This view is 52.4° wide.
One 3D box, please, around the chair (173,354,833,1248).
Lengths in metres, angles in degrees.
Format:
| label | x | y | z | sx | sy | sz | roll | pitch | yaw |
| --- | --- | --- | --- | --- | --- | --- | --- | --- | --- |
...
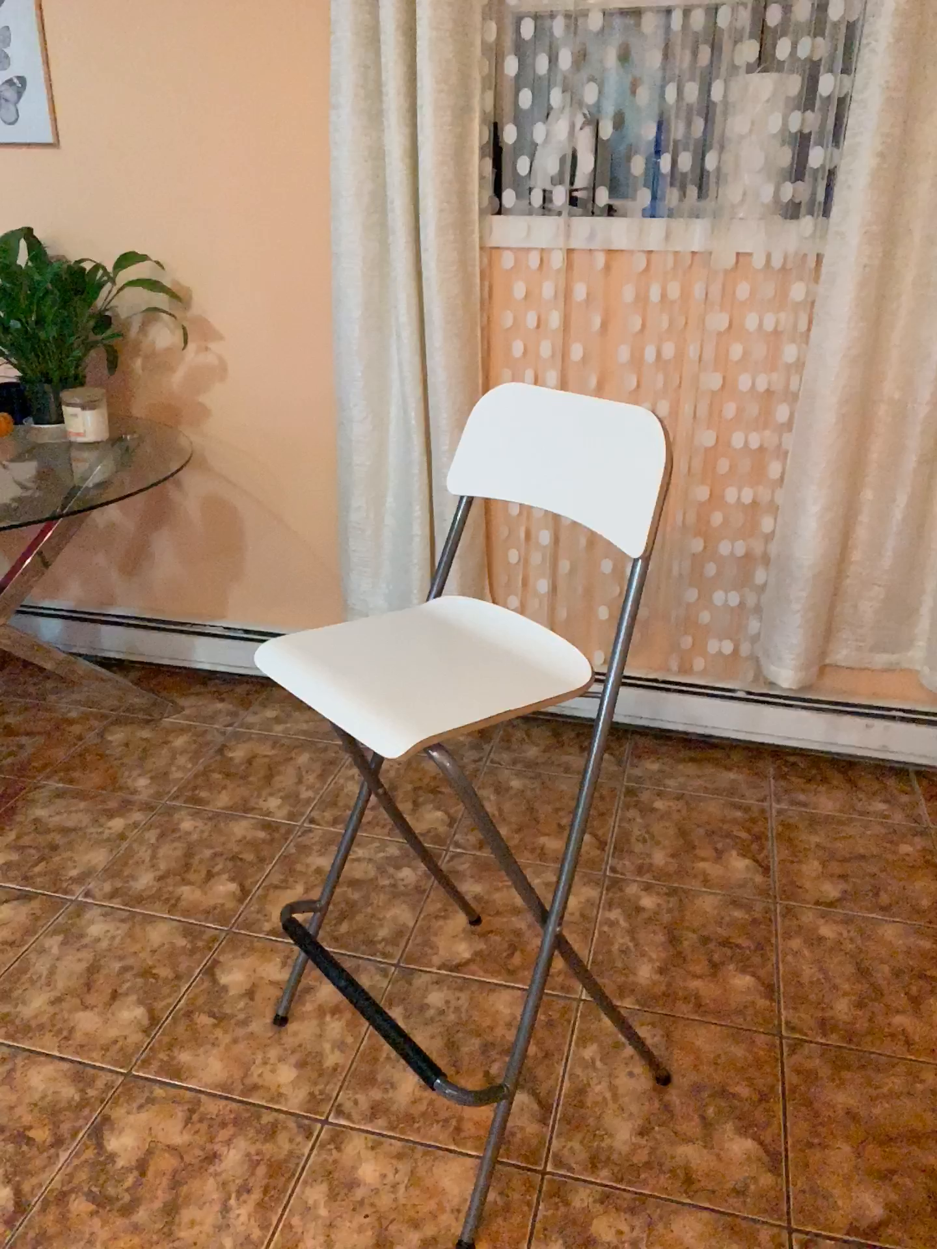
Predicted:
| label | x | y | z | sx | sy | sz | roll | pitch | yaw |
| --- | --- | --- | --- | --- | --- | --- | --- | --- | --- |
| chair | 0.016 | 0.190 | 1.364 | 0.544 | 1.007 | 0.600 | -19 | 31 | -39 |
